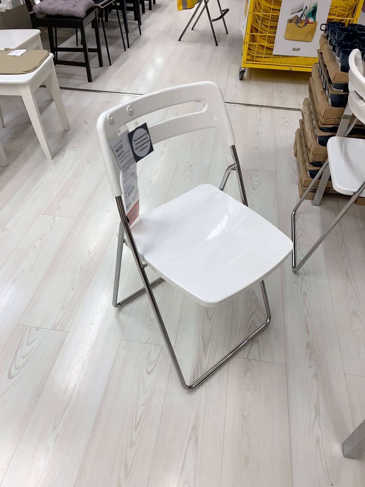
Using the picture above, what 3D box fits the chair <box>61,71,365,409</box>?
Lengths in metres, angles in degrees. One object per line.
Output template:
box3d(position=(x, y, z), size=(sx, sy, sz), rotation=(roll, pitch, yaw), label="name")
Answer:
box3d(position=(0.060, -0.021, 1.112), size=(0.511, 0.716, 0.501), rotation=(-30, 51, -30), label="chair")

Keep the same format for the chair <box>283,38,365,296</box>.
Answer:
box3d(position=(0.725, -0.279, 1.401), size=(0.510, 0.726, 0.533), rotation=(8, 43, 6), label="chair")
